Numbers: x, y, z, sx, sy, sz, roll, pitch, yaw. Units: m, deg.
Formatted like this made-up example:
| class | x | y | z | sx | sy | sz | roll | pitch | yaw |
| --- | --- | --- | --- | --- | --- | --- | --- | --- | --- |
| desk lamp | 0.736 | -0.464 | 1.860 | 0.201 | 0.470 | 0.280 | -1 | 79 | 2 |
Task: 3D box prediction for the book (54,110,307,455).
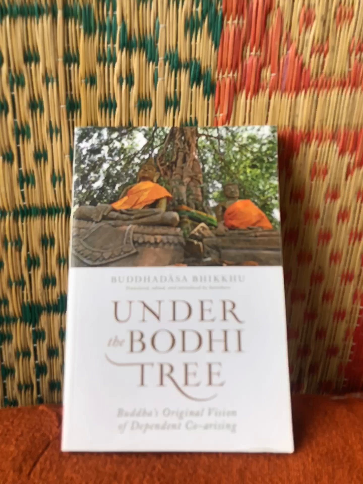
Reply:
| class | x | y | z | sx | sy | sz | roll | pitch | yaw |
| --- | --- | --- | --- | --- | --- | --- | --- | --- | --- |
| book | -0.002 | 0.022 | 0.282 | 0.160 | 0.230 | 0.030 | -1 | -8 | 0 |
